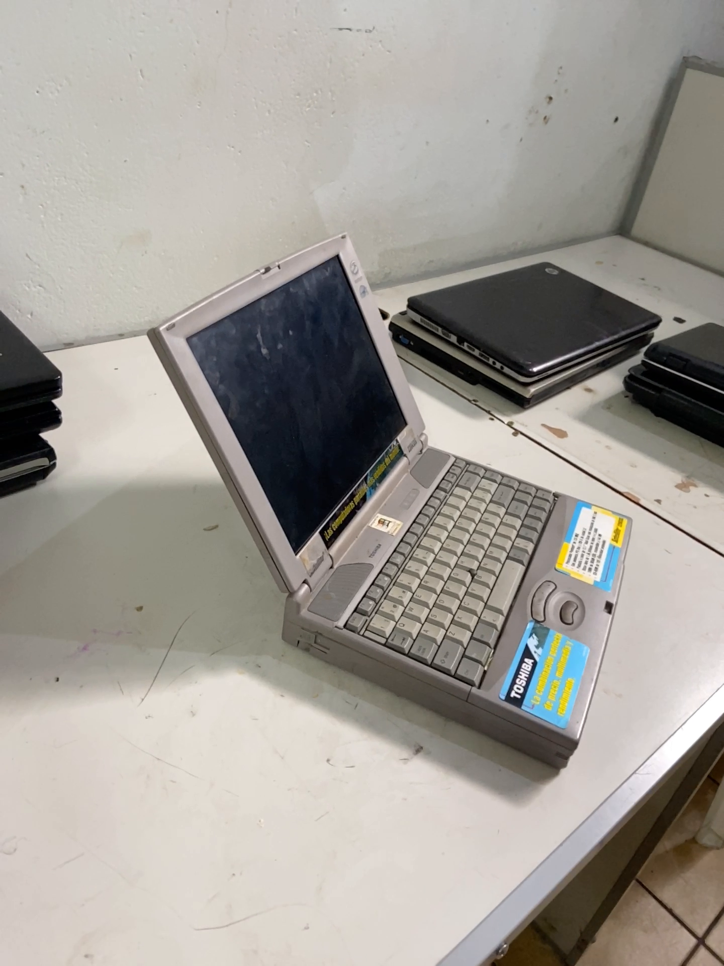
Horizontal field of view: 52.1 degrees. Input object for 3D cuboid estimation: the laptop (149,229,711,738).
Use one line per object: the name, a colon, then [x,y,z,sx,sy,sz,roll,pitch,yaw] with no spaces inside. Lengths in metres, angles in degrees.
laptop: [0.066,-0.037,0.630,0.357,0.195,0.303,22,37,16]
